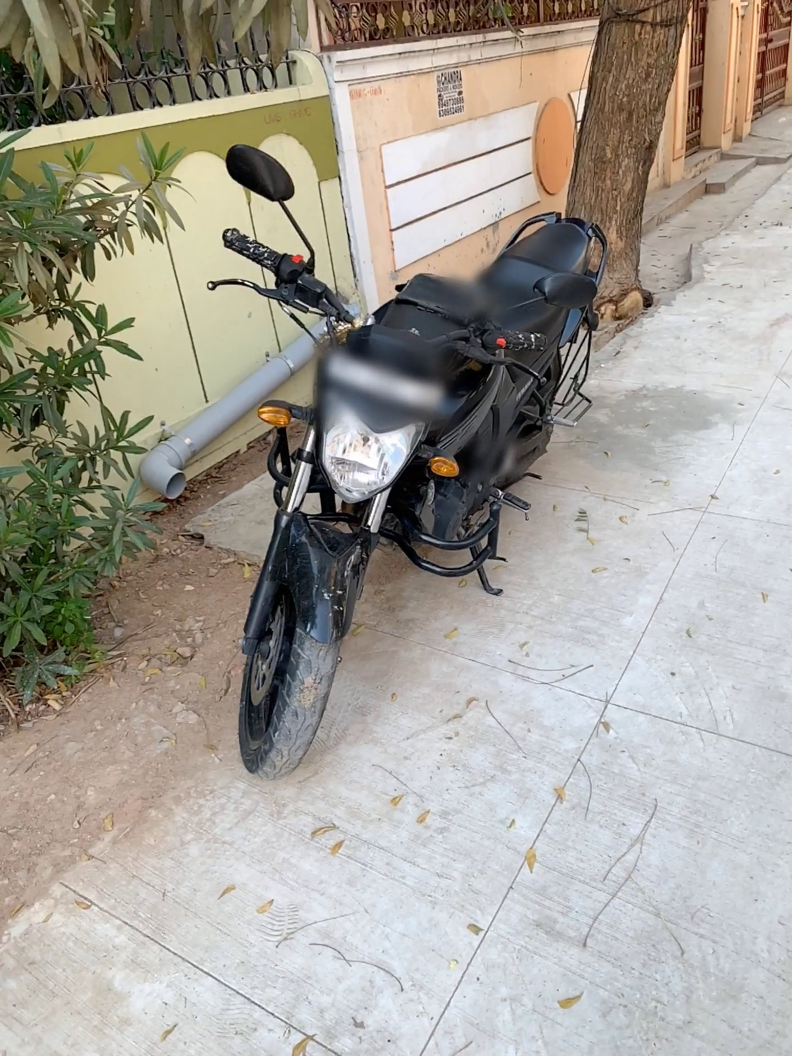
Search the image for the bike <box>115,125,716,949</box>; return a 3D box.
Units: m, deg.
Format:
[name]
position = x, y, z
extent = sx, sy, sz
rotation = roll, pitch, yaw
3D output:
[bike]
position = 0.259, -0.207, 2.067
extent = 0.748, 1.075, 1.688
rotation = 8, 38, 28
